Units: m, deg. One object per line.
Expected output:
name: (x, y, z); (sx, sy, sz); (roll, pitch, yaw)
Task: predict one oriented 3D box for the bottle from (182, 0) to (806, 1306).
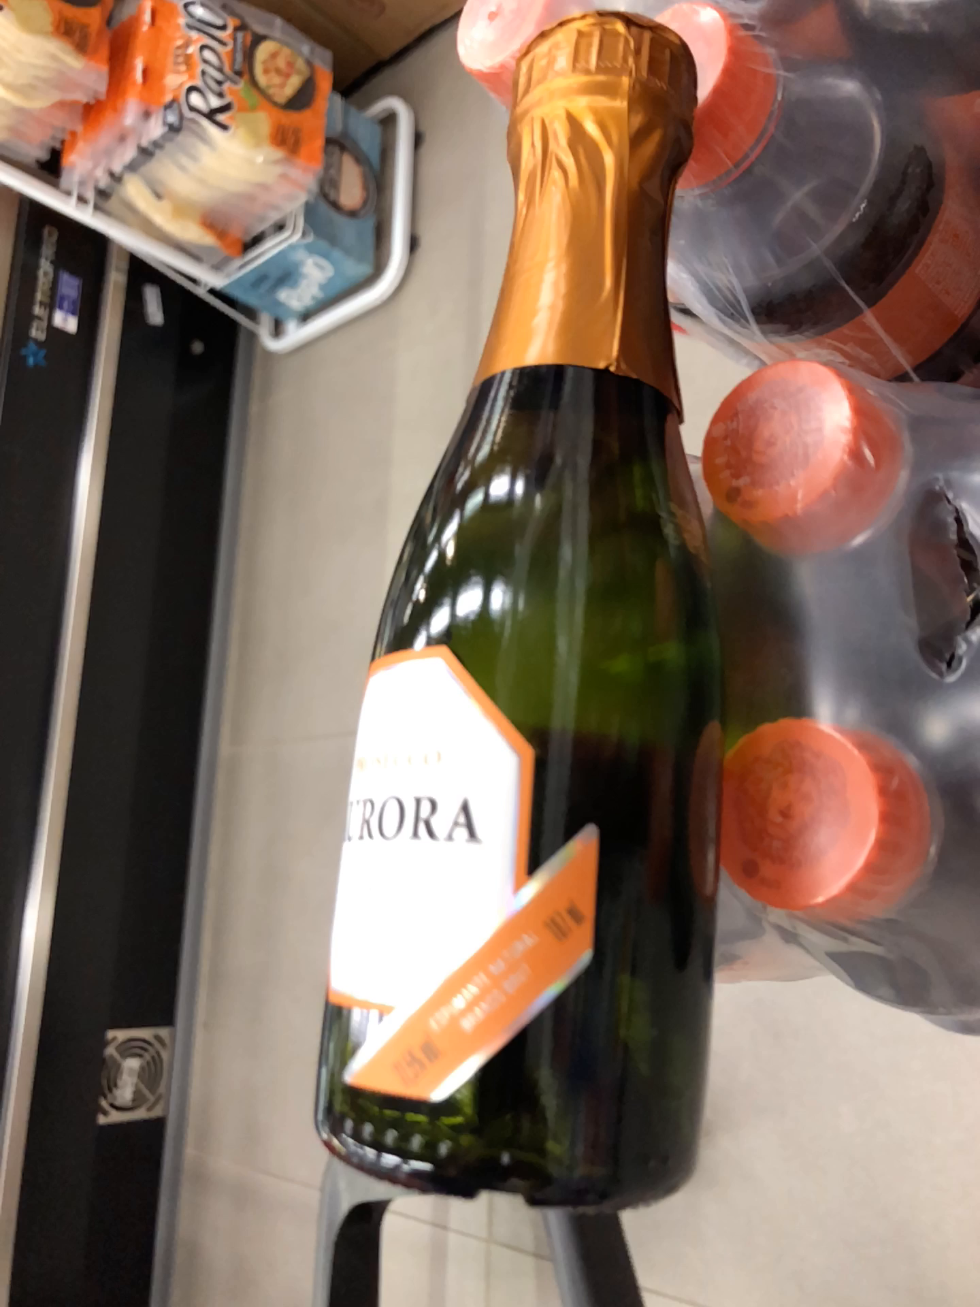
bottle: (0.004, -0.015, 0.162); (0.060, 0.050, 0.180); (-4, 77, 42)
